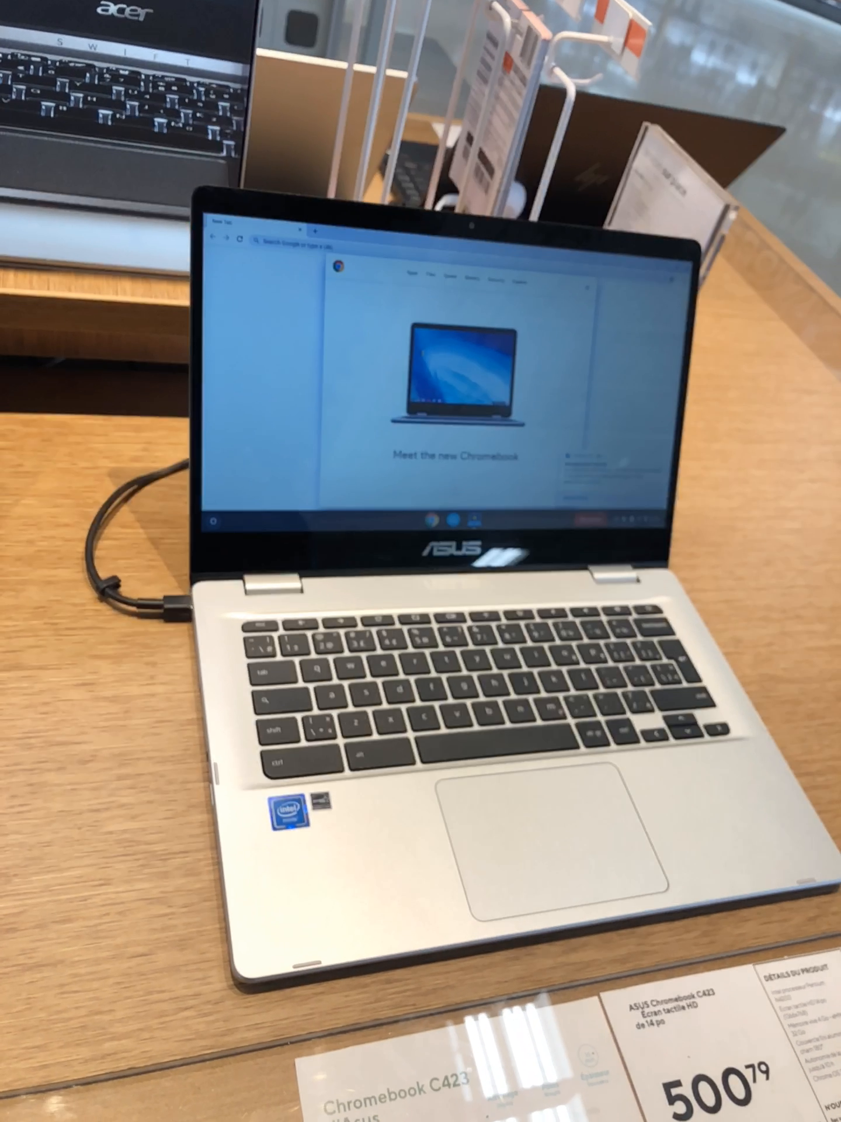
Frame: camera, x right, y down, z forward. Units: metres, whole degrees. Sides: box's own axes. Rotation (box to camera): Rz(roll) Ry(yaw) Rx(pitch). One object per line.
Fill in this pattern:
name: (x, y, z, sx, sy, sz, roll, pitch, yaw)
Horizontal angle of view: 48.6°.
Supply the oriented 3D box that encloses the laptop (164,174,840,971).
laptop: (0.040, -0.017, 0.475, 0.281, 0.186, 0.336, -2, 44, -23)
